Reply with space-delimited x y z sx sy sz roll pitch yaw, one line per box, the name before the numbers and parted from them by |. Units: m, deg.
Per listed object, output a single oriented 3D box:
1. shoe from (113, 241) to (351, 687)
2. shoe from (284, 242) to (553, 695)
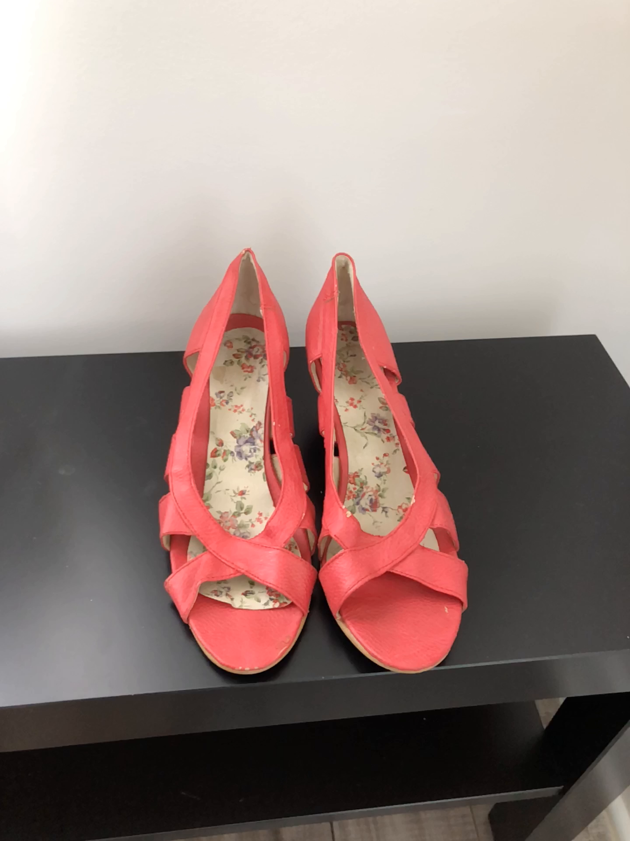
shoe | -0.047 0.008 0.369 0.087 0.100 0.221 -3 45 -7
shoe | 0.034 0.009 0.375 0.077 0.100 0.231 -3 45 -7
